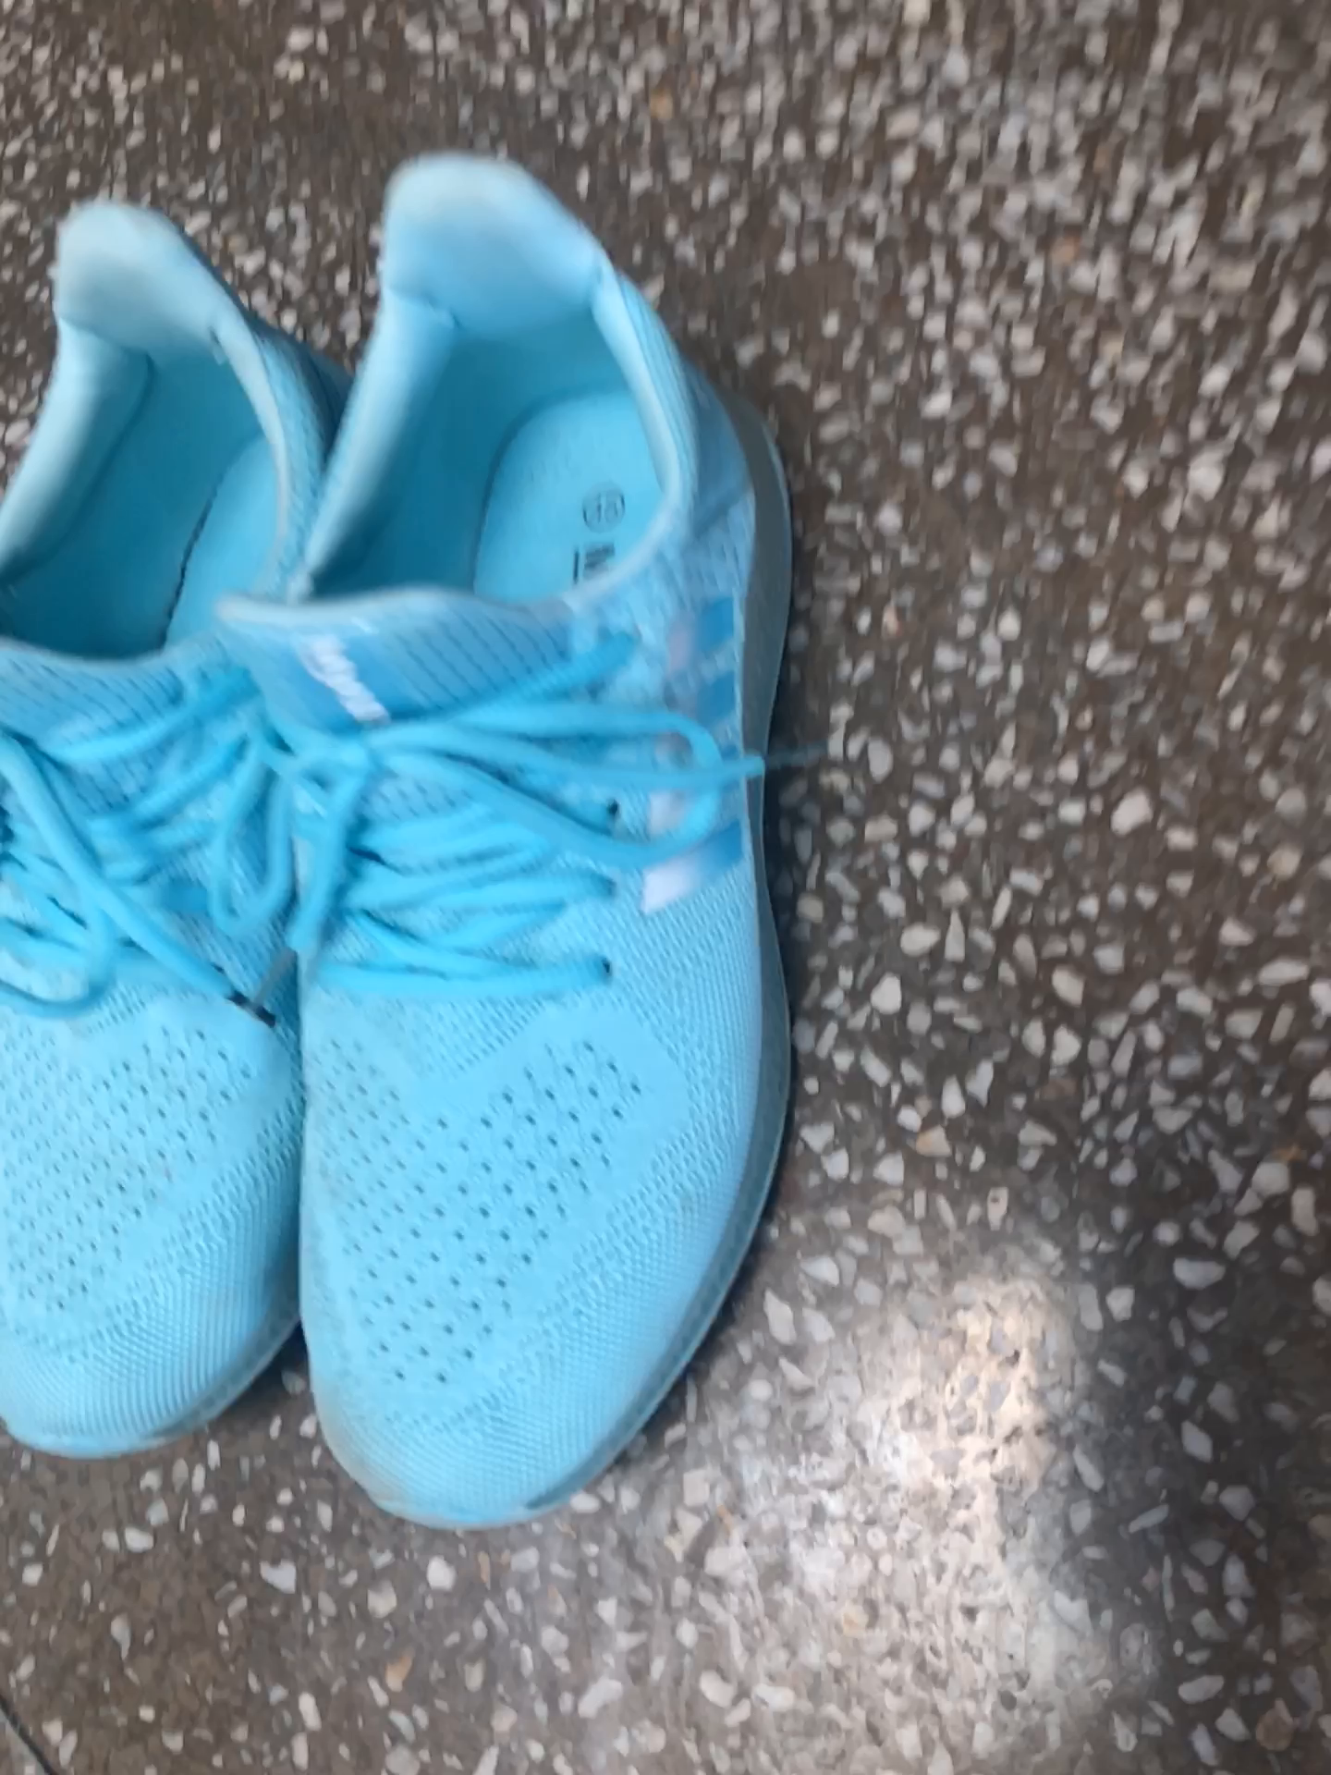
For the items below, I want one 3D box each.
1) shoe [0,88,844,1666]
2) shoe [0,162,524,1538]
[{"bbox_3d":[-0.047,-0.005,0.323,0.121,0.125,0.271,3,76,20],"label":"shoe"},{"bbox_3d":[-0.138,-0.009,0.357,0.121,0.125,0.271,5,77,21],"label":"shoe"}]
